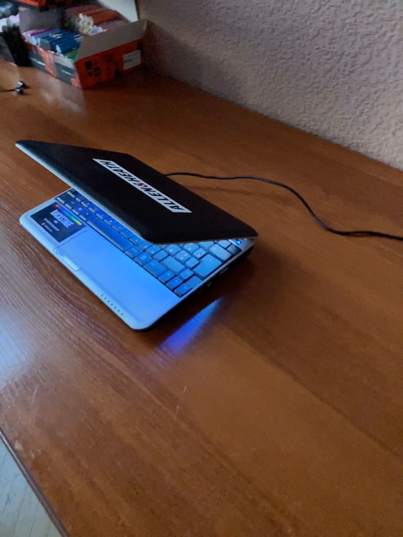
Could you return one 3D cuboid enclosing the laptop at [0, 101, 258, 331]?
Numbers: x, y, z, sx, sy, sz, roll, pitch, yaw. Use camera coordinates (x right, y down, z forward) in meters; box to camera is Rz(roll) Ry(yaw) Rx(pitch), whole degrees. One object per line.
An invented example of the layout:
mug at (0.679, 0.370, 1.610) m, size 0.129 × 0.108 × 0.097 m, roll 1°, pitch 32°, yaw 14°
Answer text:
laptop at (-0.095, -0.083, 0.481) m, size 0.173 × 0.088 × 0.267 m, roll -37°, pitch 54°, yaw -25°
